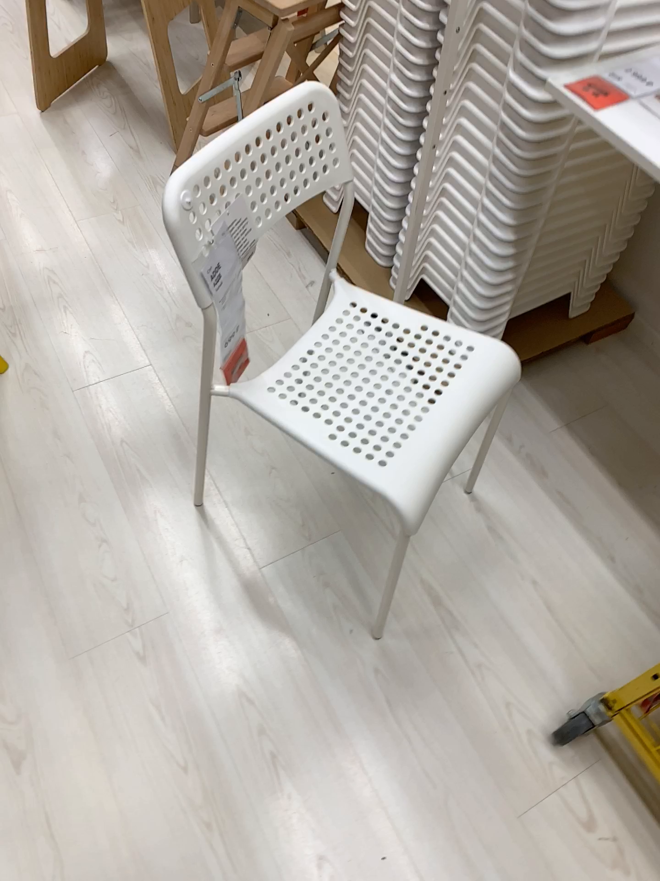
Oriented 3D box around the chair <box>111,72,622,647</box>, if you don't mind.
[{"bbox_3d":[0.034,-0.086,1.152,0.500,0.746,0.425,31,58,16],"label":"chair"}]
